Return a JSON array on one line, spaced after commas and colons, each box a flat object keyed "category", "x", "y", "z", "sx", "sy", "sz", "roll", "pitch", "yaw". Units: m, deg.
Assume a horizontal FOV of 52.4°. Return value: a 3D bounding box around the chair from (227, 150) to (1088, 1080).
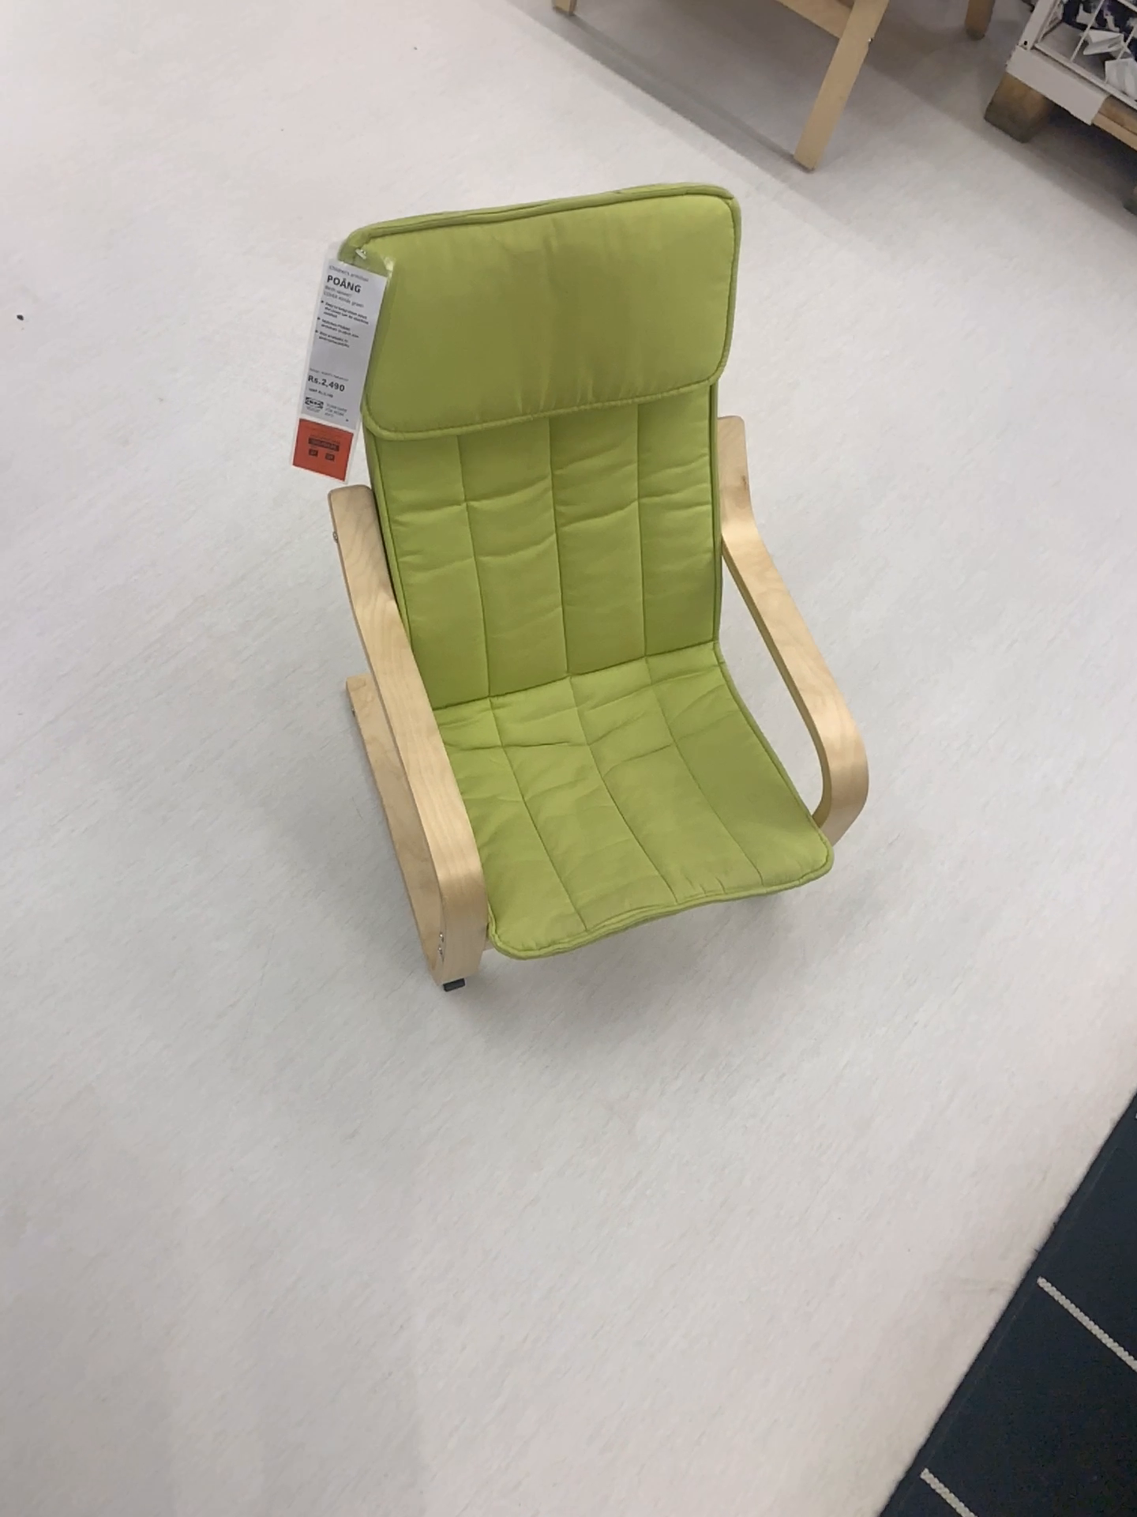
[{"category": "chair", "x": 0.005, "y": -0.085, "z": 1.284, "sx": 0.520, "sy": 0.819, "sz": 0.570, "roll": -16, "pitch": 67, "yaw": -15}]
